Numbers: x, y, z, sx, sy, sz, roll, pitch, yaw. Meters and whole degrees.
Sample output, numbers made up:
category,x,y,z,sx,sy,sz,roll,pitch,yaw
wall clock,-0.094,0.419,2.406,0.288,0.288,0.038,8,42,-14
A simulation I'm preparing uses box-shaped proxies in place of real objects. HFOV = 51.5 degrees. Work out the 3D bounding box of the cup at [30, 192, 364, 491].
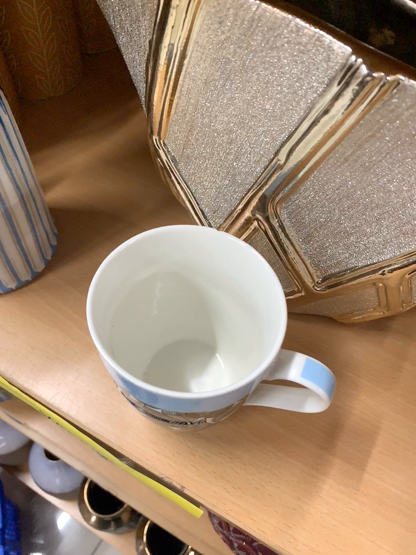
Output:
category,x,y,z,sx,sy,sz,roll,pitch,yaw
cup,0.000,0.032,0.200,0.110,0.090,0.080,14,54,5
